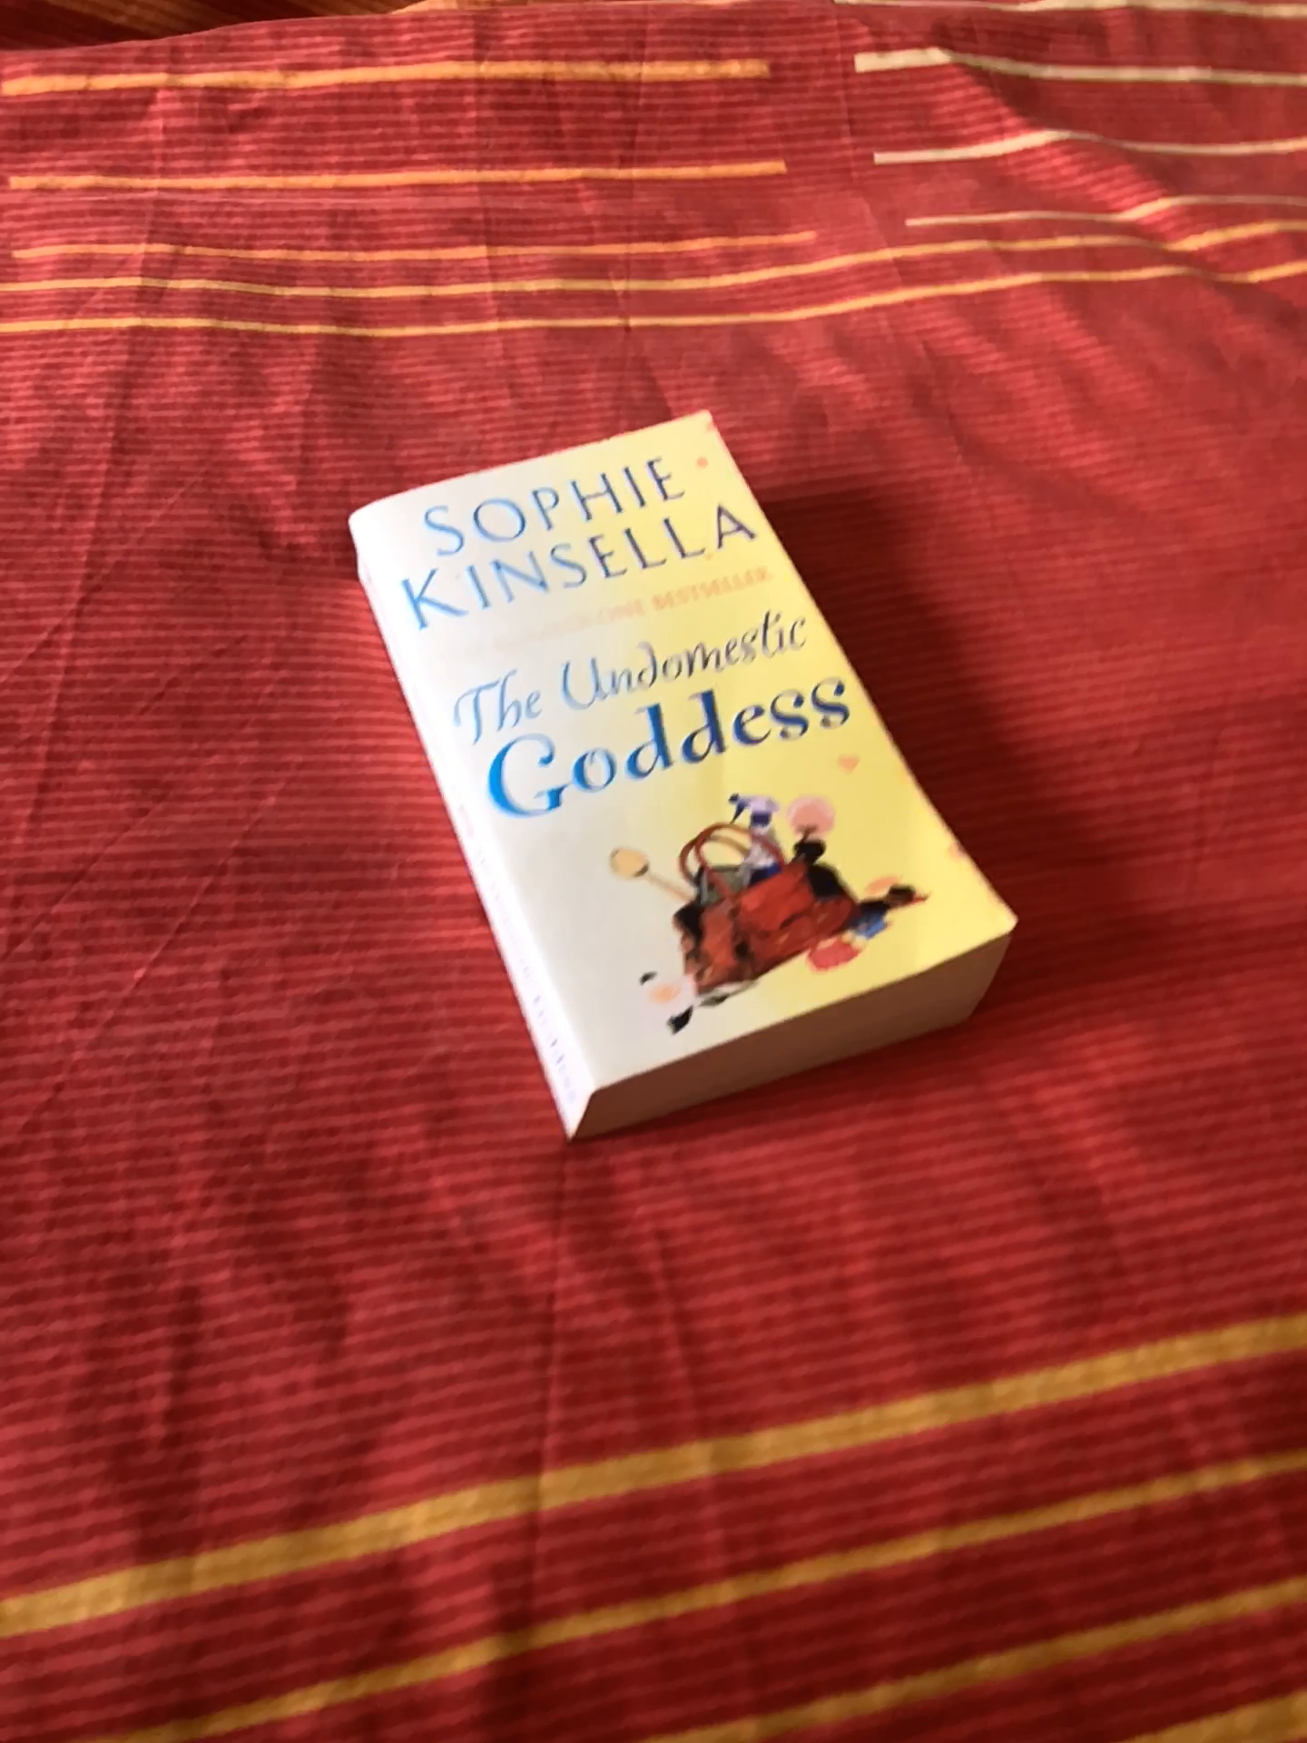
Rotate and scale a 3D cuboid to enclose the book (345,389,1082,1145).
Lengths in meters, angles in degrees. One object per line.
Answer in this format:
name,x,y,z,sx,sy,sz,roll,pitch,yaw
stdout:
book,0.007,-0.037,0.368,0.120,0.040,0.180,-16,62,-16
